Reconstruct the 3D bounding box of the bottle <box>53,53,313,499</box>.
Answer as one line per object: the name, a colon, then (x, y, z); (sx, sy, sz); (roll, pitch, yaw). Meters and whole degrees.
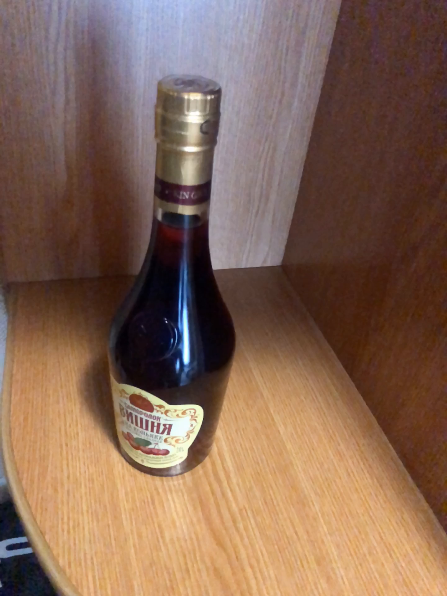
bottle: (-0.028, 0.001, 0.296); (0.090, 0.244, 0.080); (21, 38, 16)
